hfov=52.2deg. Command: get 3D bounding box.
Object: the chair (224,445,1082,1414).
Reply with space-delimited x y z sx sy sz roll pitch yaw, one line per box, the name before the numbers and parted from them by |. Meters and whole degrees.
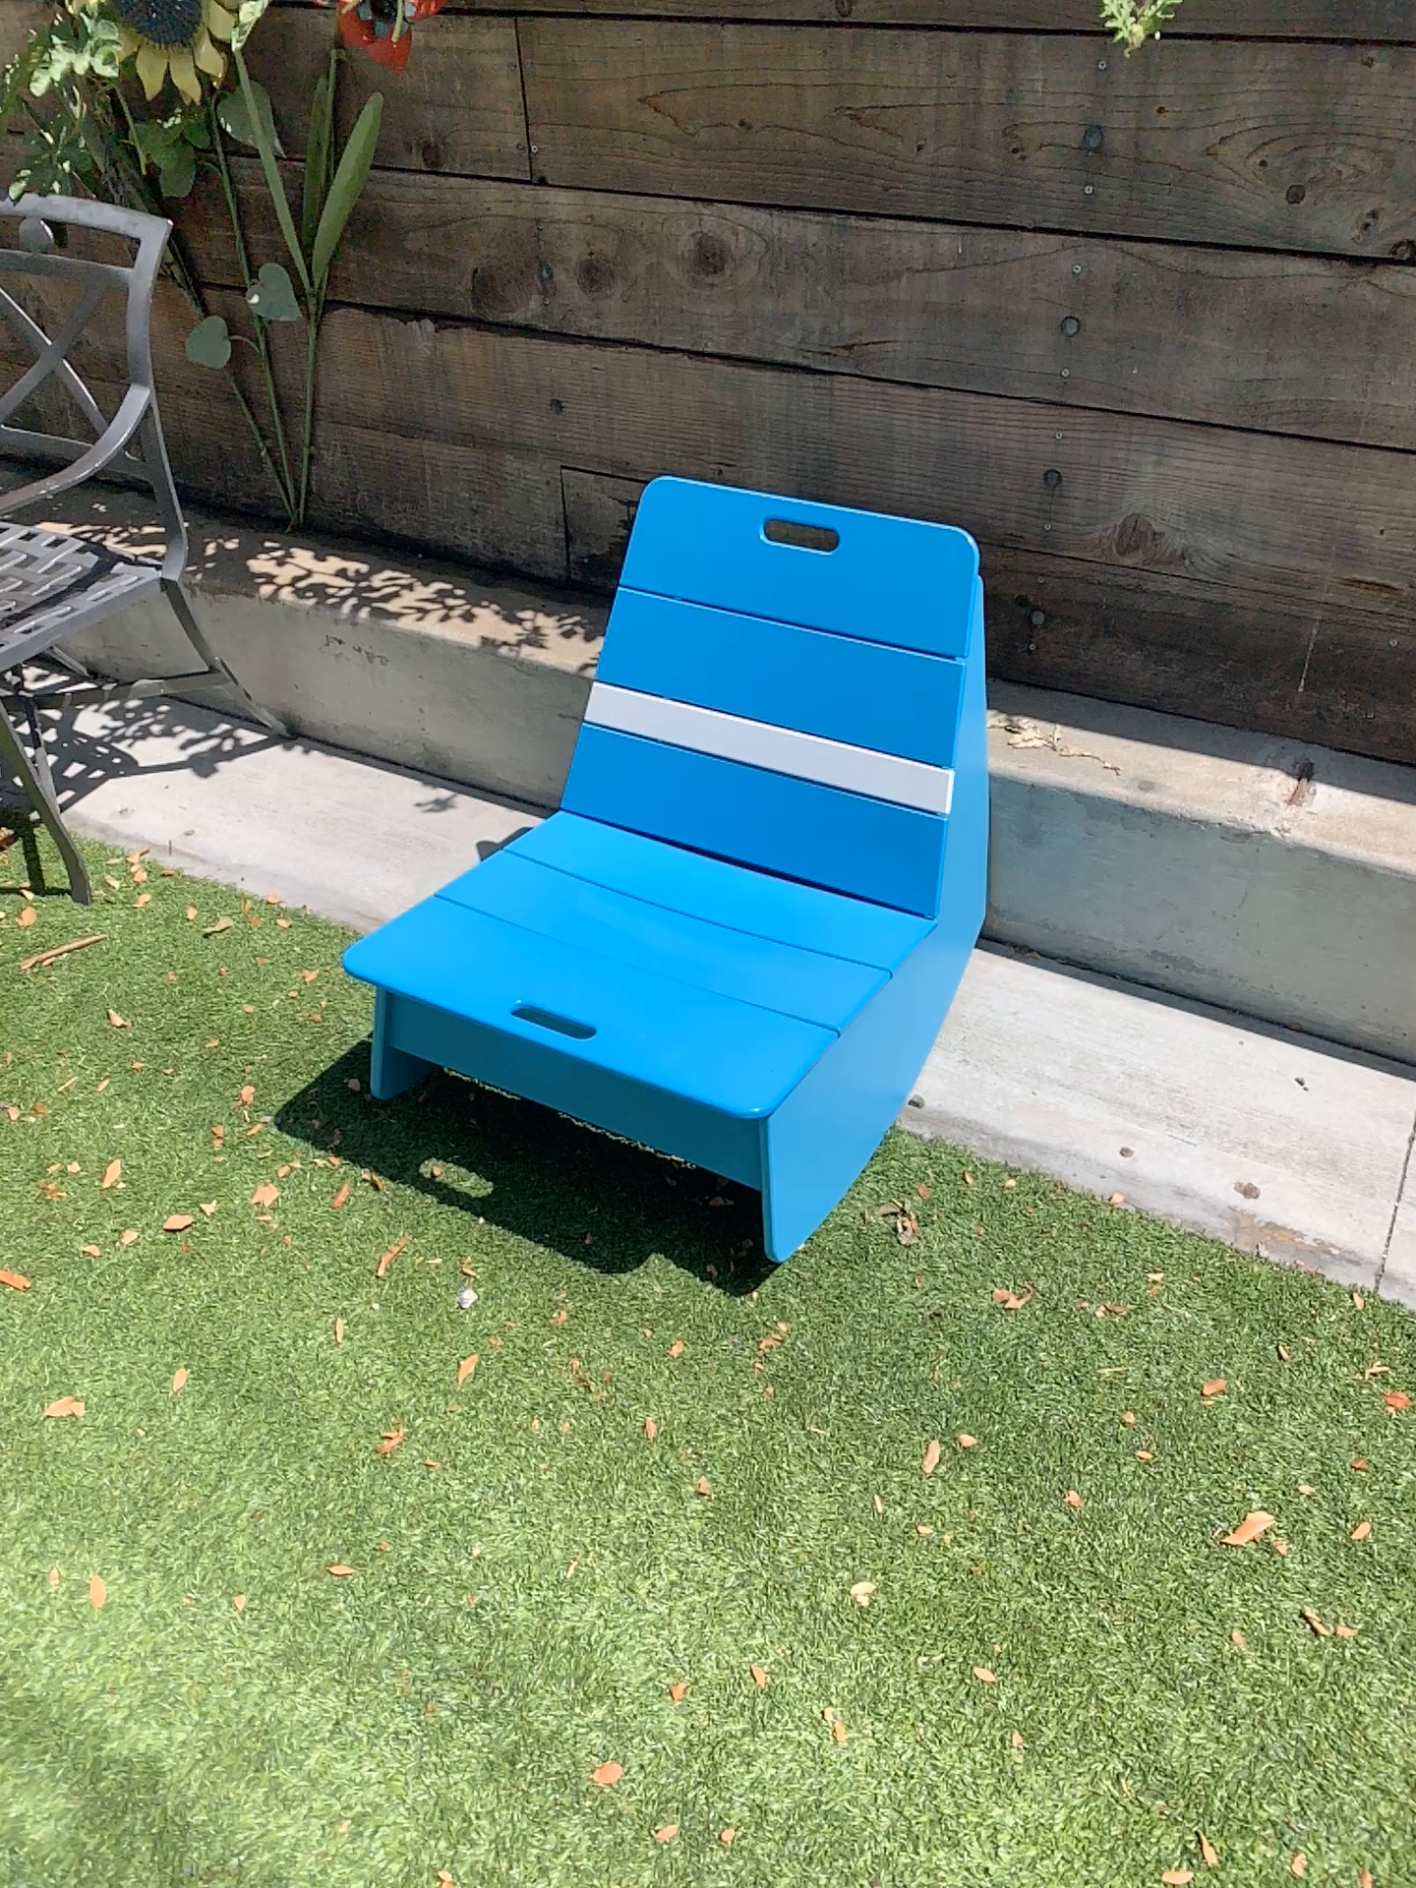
chair | -0.009 -0.055 1.734 0.592 0.745 0.722 20 46 25
